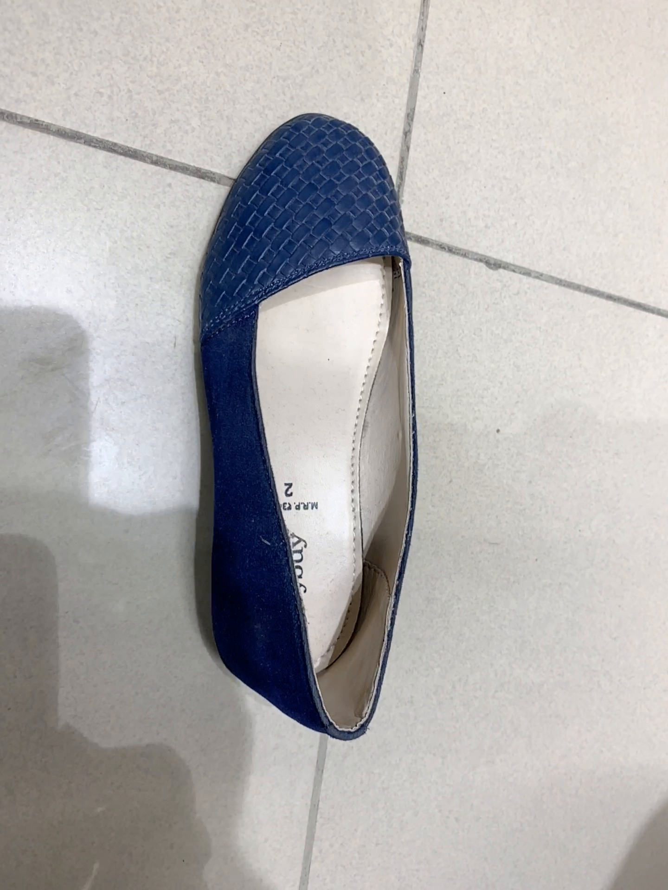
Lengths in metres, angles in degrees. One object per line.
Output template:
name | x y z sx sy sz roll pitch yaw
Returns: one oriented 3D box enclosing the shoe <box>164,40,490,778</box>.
shoe | -0.005 -0.009 0.252 0.090 0.060 0.220 3 92 -24
